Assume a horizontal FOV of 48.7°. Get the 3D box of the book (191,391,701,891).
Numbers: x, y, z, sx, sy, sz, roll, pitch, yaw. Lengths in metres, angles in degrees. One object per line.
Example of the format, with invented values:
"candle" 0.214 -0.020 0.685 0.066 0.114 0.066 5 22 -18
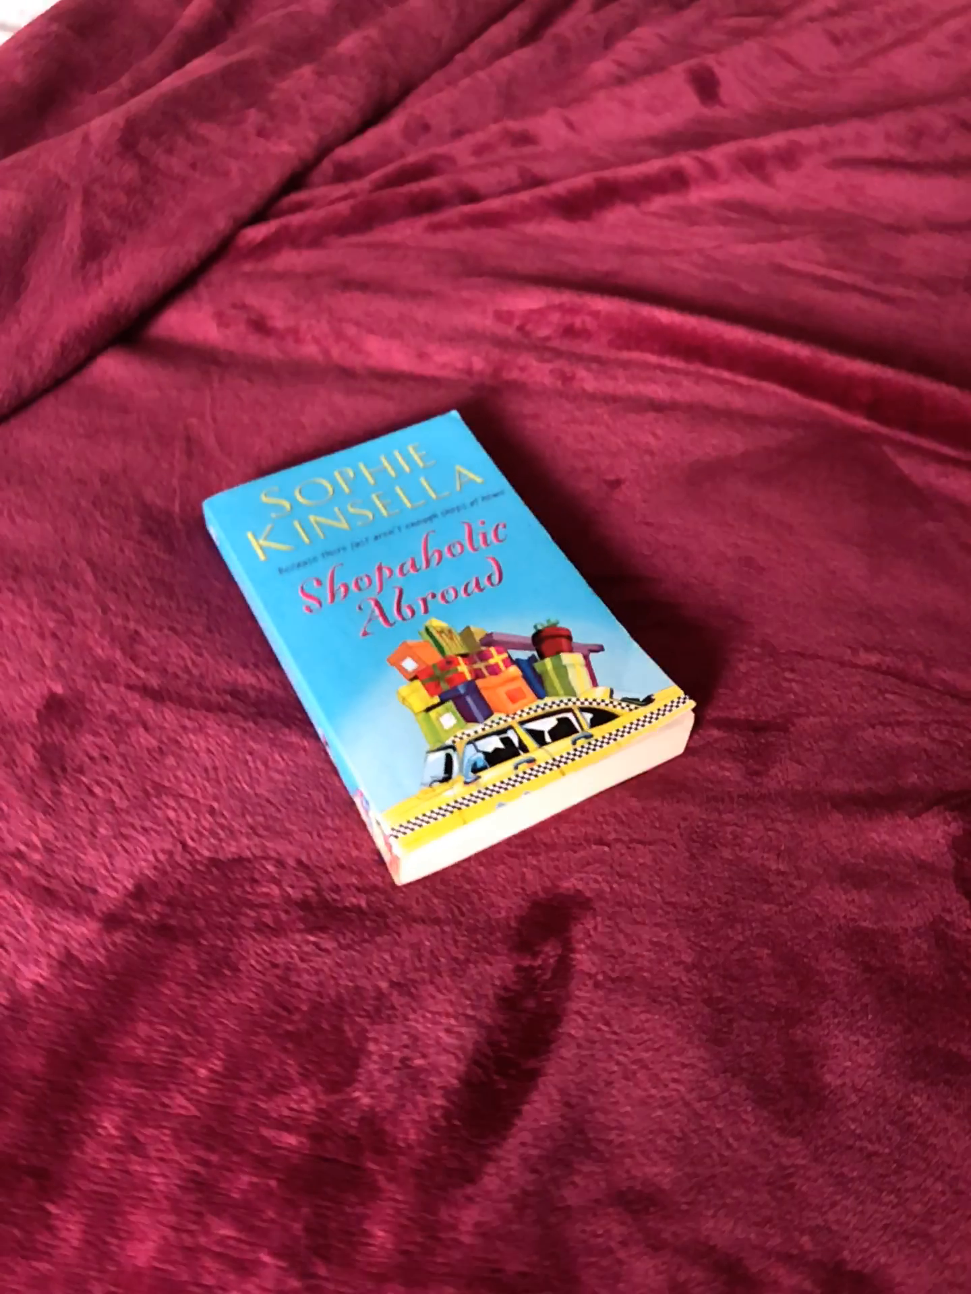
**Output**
"book" -0.024 -0.016 0.451 0.130 0.035 0.200 -23 57 -18
